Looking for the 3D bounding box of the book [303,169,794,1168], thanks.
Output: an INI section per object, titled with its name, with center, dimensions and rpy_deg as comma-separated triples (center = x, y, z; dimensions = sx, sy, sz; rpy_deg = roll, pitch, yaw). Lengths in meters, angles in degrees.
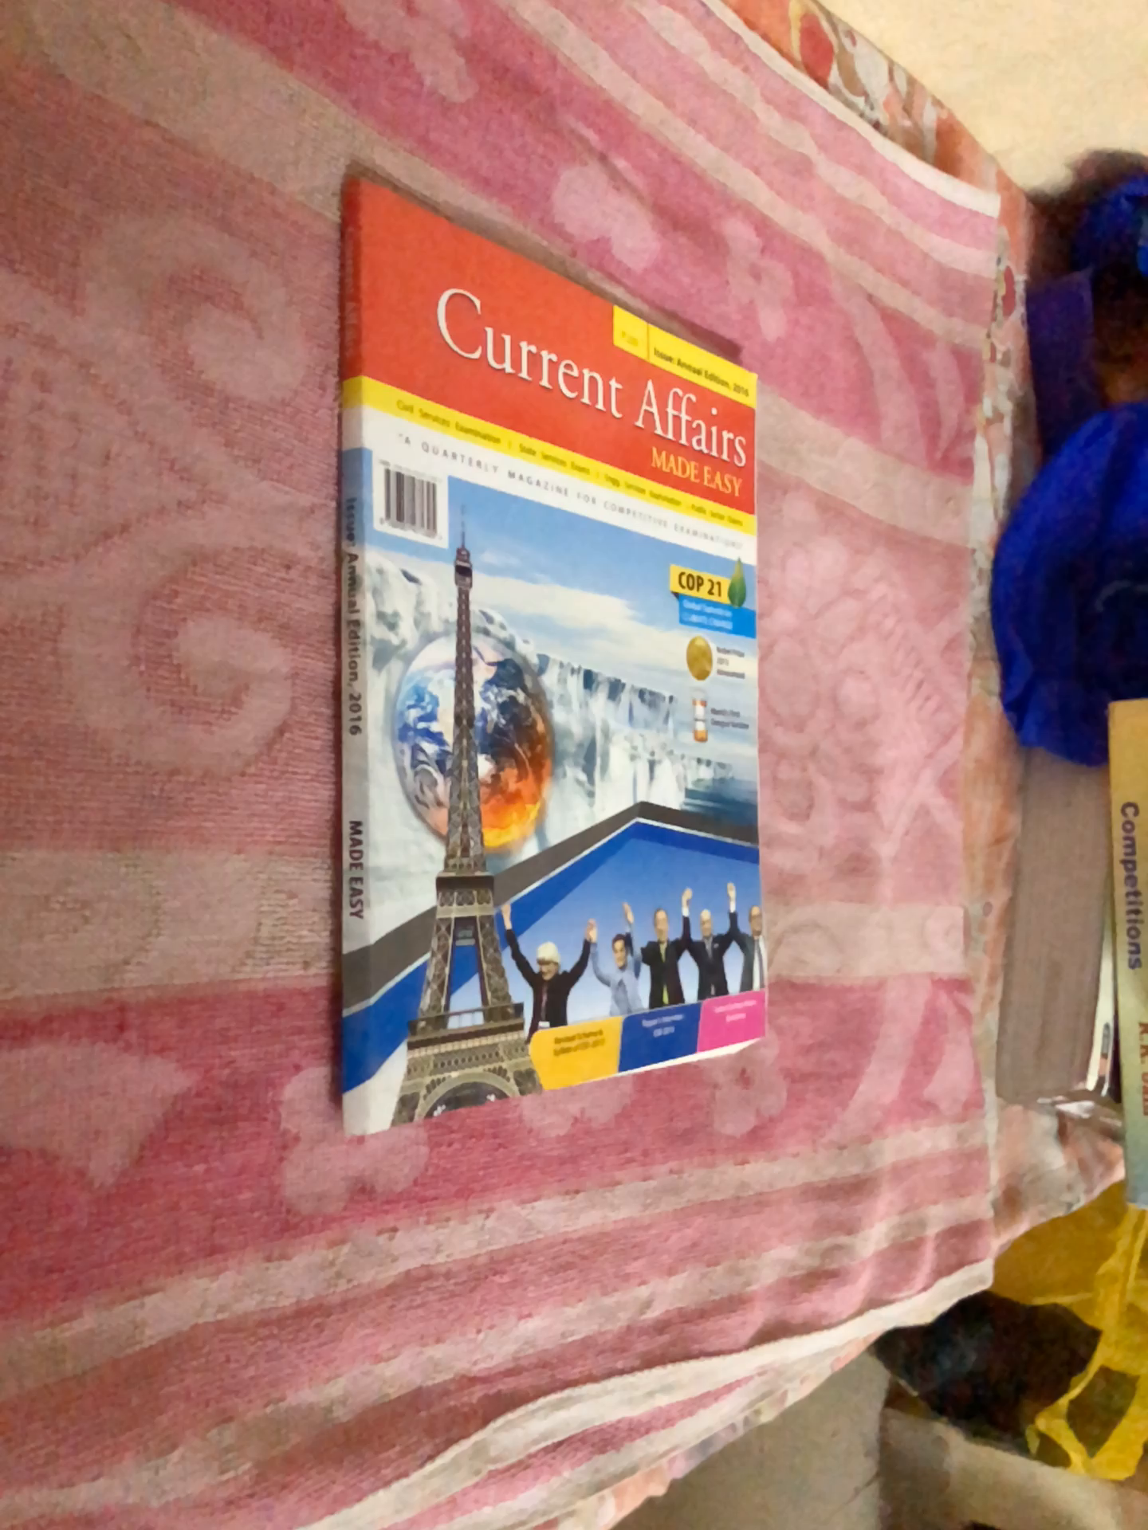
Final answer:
[book]
center = 0.003, -0.025, 0.427
dimensions = 0.206, 0.025, 0.270
rpy_deg = 4, 83, -49
